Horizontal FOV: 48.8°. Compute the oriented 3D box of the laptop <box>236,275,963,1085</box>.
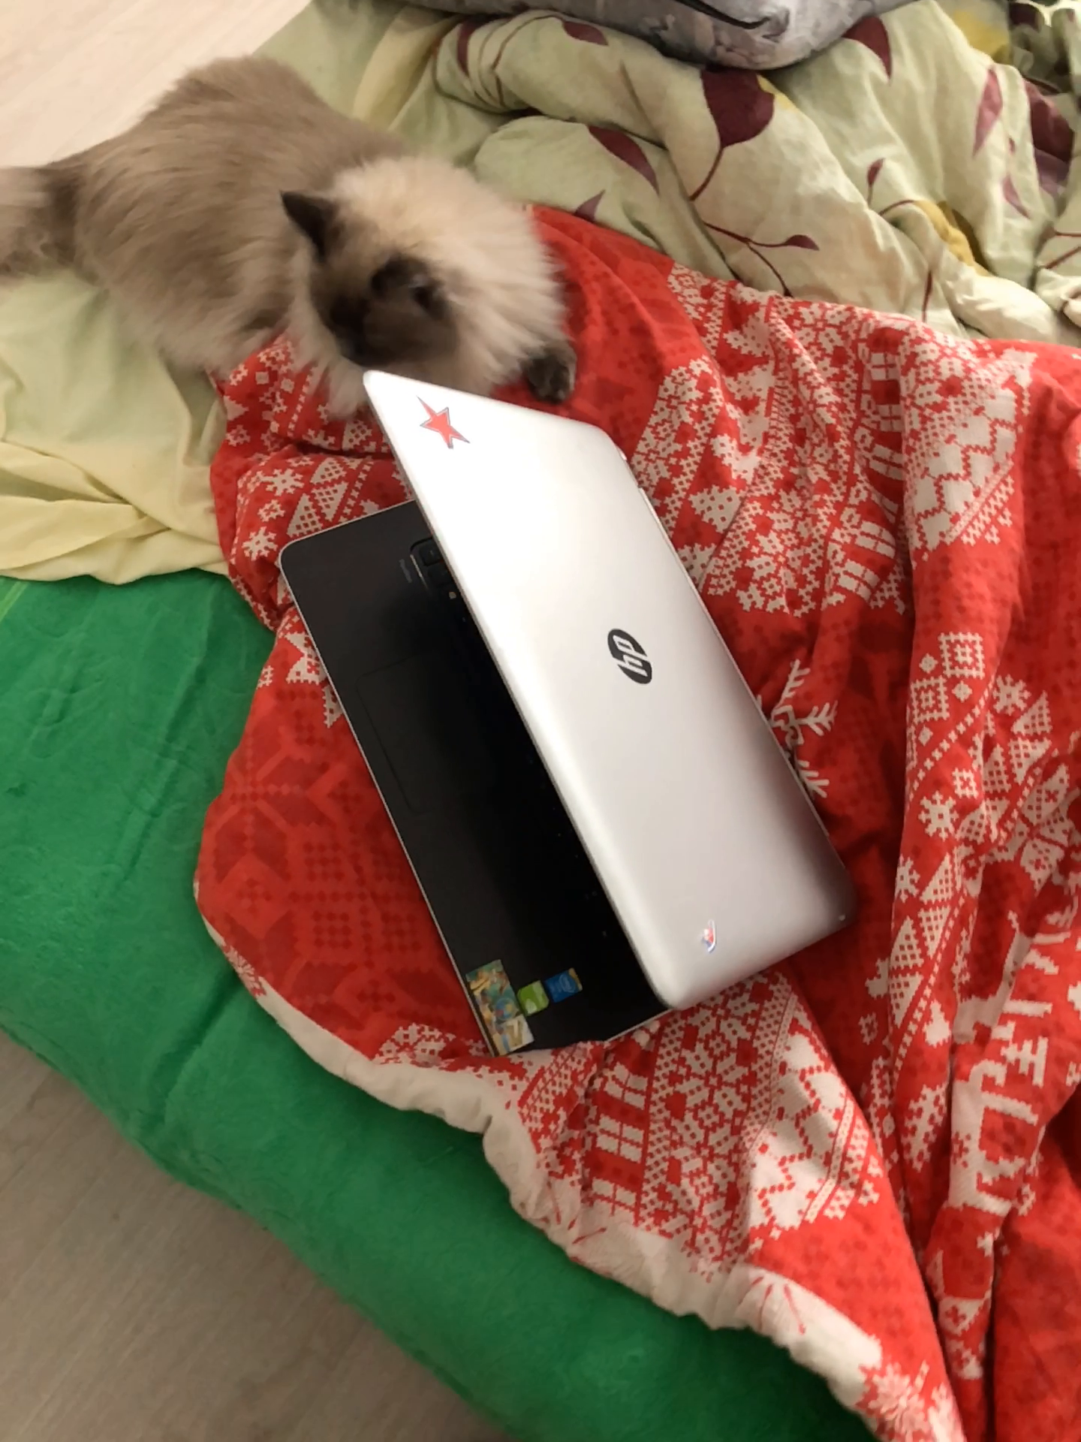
[{"bbox_3d":[0.022,-0.028,0.778,0.276,0.176,0.414,-22,73,-12],"label":"laptop"}]
